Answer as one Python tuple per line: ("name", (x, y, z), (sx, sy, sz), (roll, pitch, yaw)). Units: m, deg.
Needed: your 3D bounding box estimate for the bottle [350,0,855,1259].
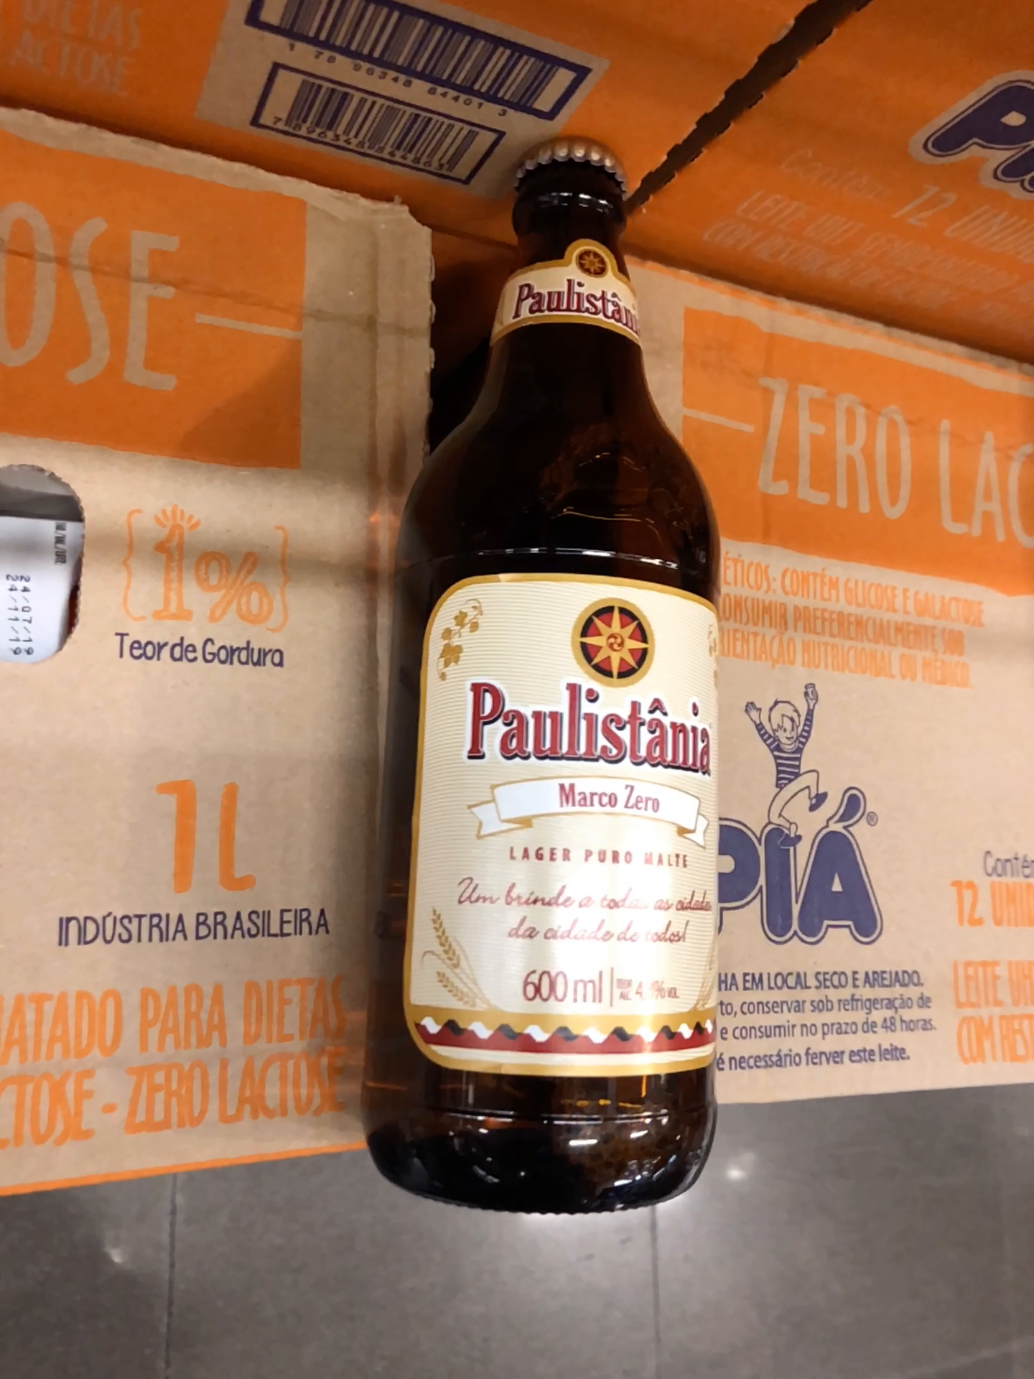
("bottle", (0.016, -0.028, 0.239), (0.080, 0.050, 0.250), (6, 78, -25))
